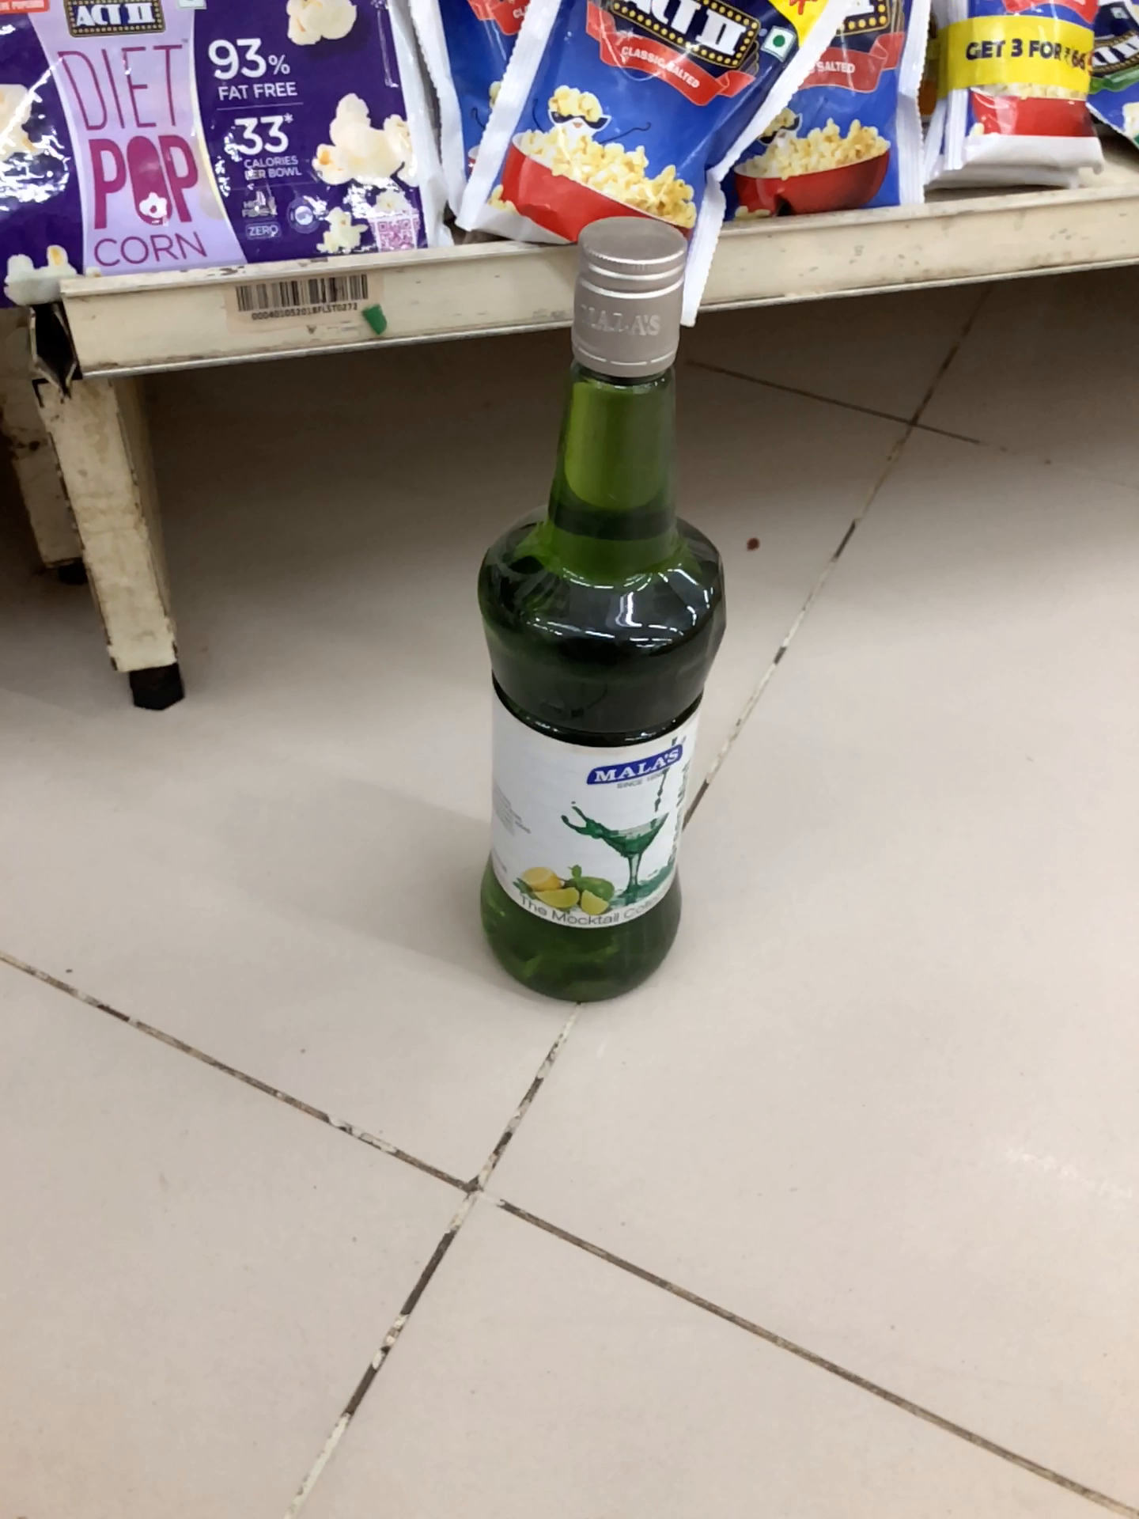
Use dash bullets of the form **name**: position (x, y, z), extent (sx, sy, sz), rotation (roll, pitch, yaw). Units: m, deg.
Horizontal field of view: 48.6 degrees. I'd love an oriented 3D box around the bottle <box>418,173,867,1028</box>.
- **bottle**: position (0.012, -0.034, 0.429), extent (0.090, 0.278, 0.090), rotation (1, 46, -1)
